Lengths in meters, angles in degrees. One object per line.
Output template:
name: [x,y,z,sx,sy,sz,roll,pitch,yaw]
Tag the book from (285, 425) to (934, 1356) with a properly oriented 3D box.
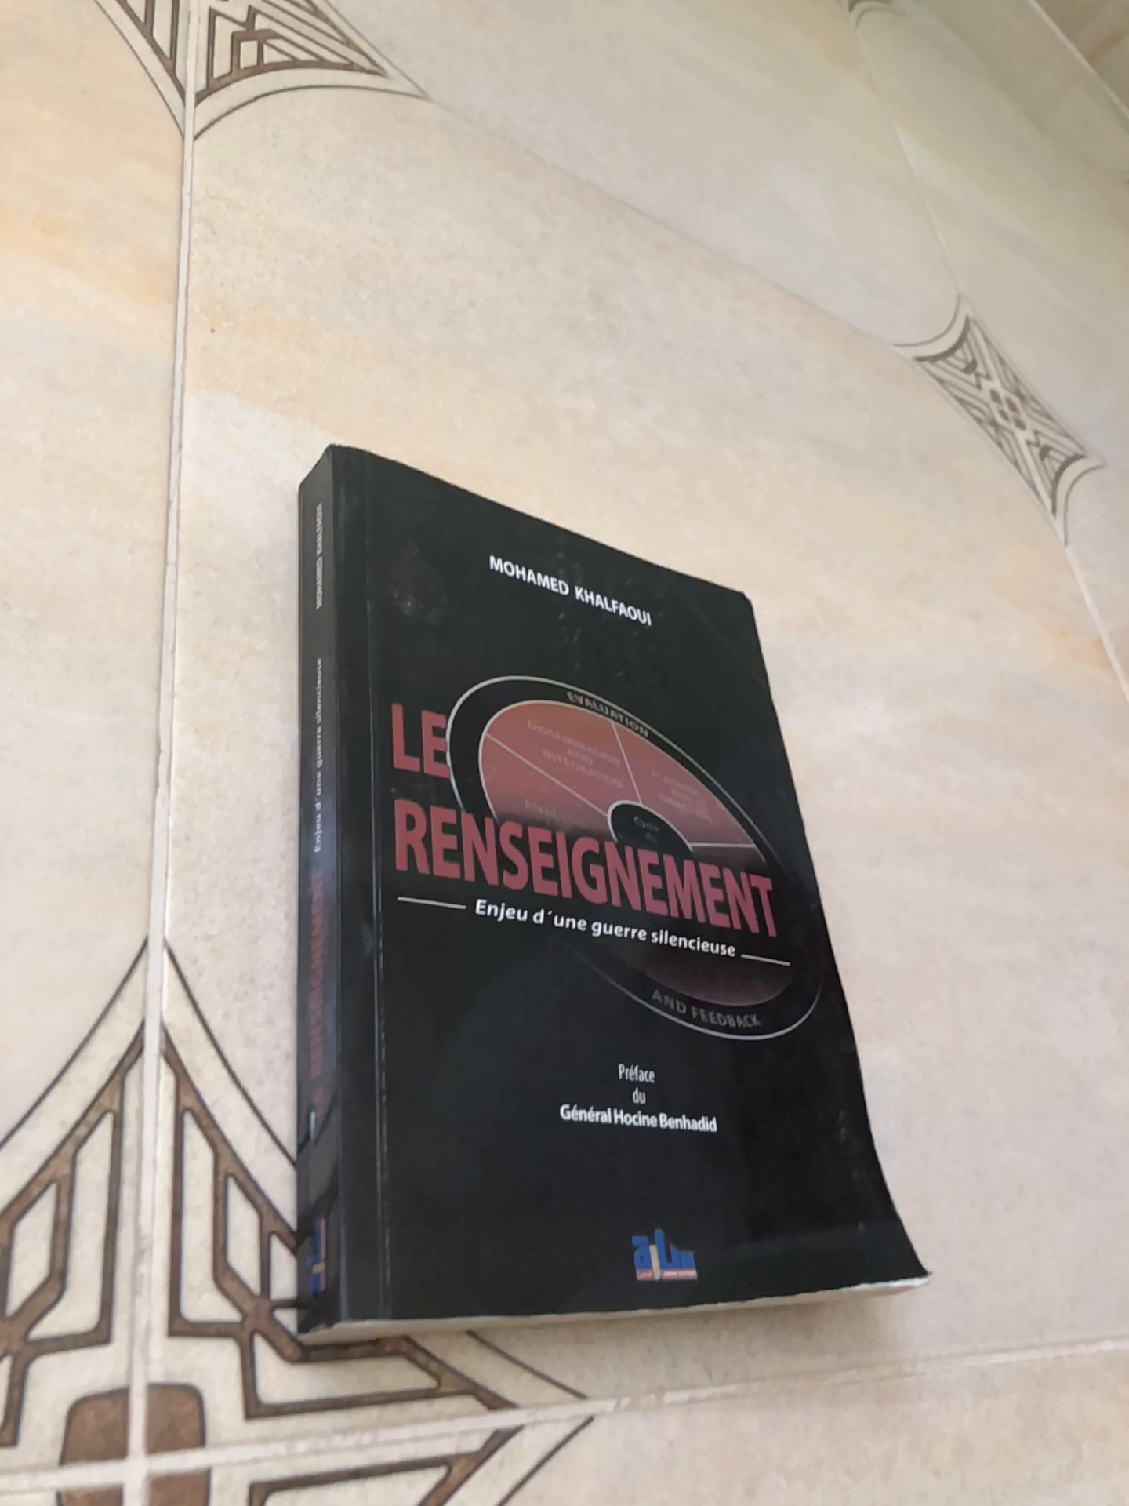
book: [0.007,0.031,0.309,0.146,0.037,0.201,15,55,-34]
